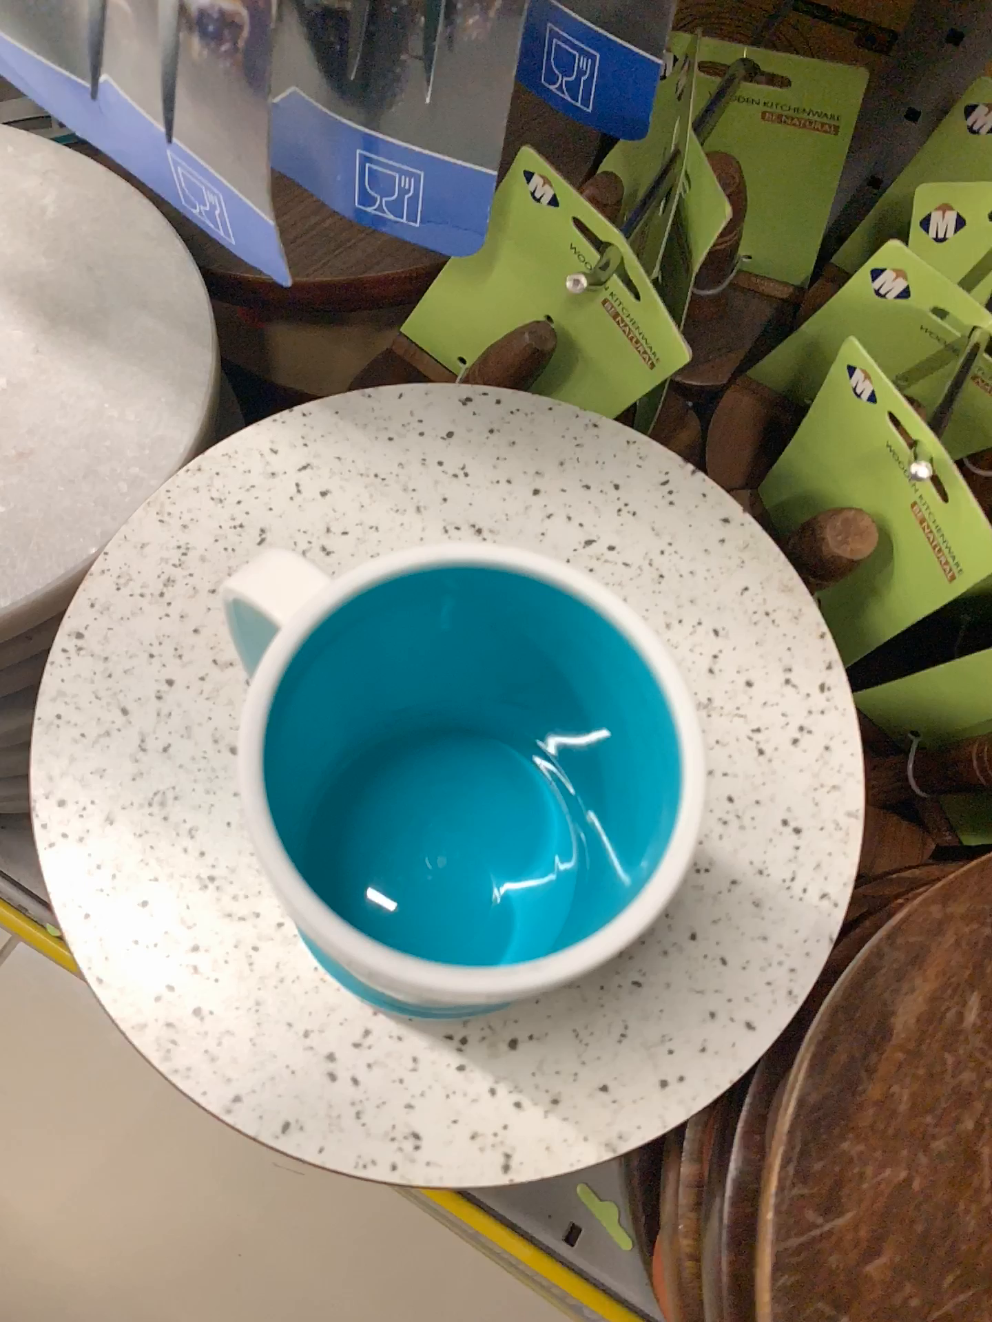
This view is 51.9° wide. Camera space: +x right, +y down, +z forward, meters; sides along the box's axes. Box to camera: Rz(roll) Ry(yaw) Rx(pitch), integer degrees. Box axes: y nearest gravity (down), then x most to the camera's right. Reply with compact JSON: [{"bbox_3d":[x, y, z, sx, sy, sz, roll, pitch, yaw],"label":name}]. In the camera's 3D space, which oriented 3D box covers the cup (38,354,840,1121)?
[{"bbox_3d":[-0.015,0.025,0.220,0.110,0.110,0.080,44,69,12],"label":"cup"}]
